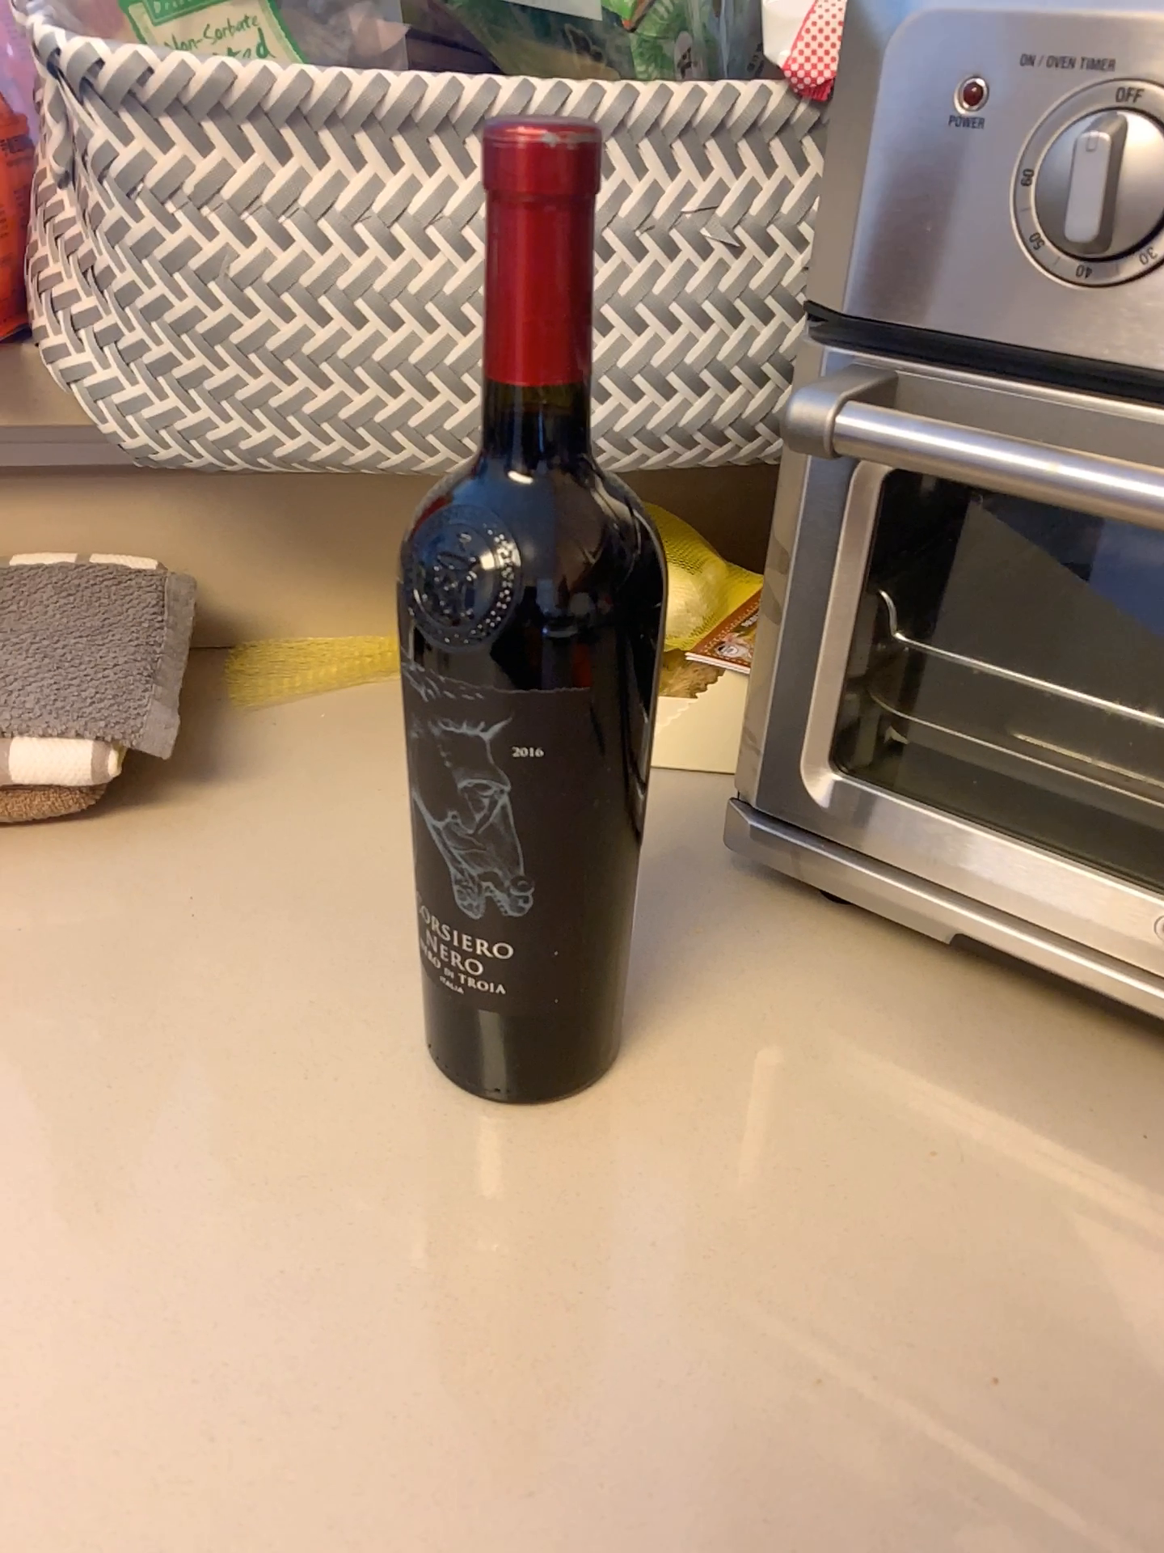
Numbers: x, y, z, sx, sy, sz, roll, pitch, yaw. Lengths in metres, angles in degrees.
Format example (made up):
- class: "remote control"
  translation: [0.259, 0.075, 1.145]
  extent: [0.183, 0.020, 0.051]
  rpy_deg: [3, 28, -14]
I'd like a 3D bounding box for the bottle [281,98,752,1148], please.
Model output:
- class: "bottle"
  translation: [-0.019, -0.031, 0.342]
  extent: [0.080, 0.278, 0.070]
  rpy_deg: [21, 36, 27]
